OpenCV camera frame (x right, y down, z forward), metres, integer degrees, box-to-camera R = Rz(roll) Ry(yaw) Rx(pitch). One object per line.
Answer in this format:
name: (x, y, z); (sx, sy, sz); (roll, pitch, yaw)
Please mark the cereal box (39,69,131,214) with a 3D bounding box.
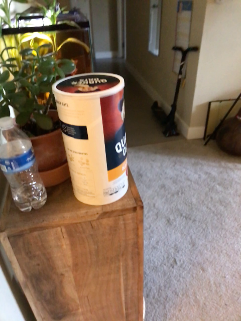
cereal box: (-0.051, -0.036, 0.523); (0.140, 0.248, 0.141); (-1, 33, 0)
